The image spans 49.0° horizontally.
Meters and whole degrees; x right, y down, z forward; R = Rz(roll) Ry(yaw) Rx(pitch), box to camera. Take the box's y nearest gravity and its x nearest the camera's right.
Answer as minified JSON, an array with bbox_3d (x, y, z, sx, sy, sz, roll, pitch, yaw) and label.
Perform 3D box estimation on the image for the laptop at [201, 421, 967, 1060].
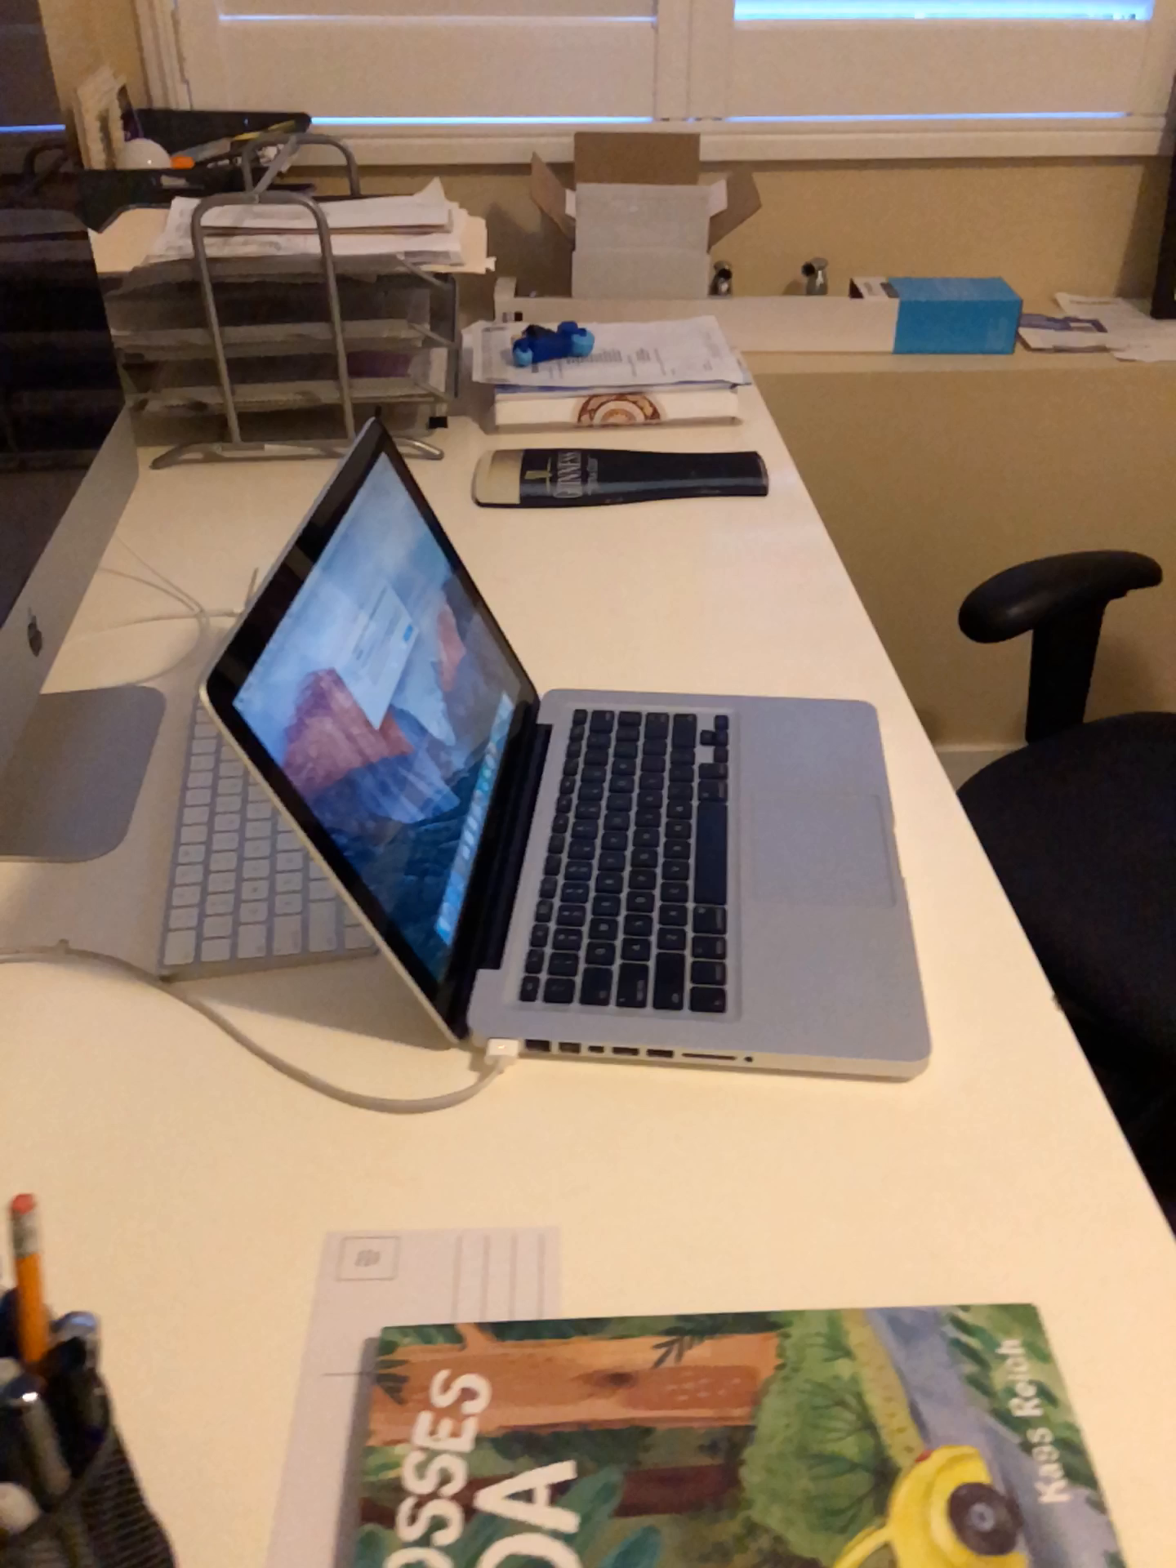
[{"bbox_3d":[0.009,-0.044,0.698,0.312,0.187,0.304,3,36,5],"label":"laptop"}]
